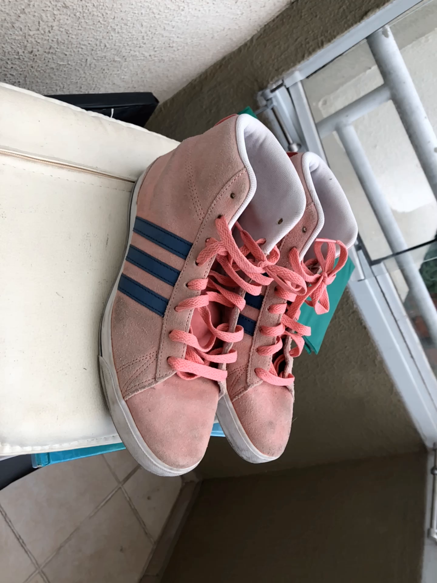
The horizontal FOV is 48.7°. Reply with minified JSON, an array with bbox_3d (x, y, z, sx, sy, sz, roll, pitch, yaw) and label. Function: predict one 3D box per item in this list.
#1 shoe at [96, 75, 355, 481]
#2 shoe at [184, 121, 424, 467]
[{"bbox_3d":[-0.003,-0.001,0.353,0.100,0.129,0.250,22,57,-45],"label":"shoe"},{"bbox_3d":[0.064,0.009,0.421,0.101,0.129,0.250,13,63,-48],"label":"shoe"}]
